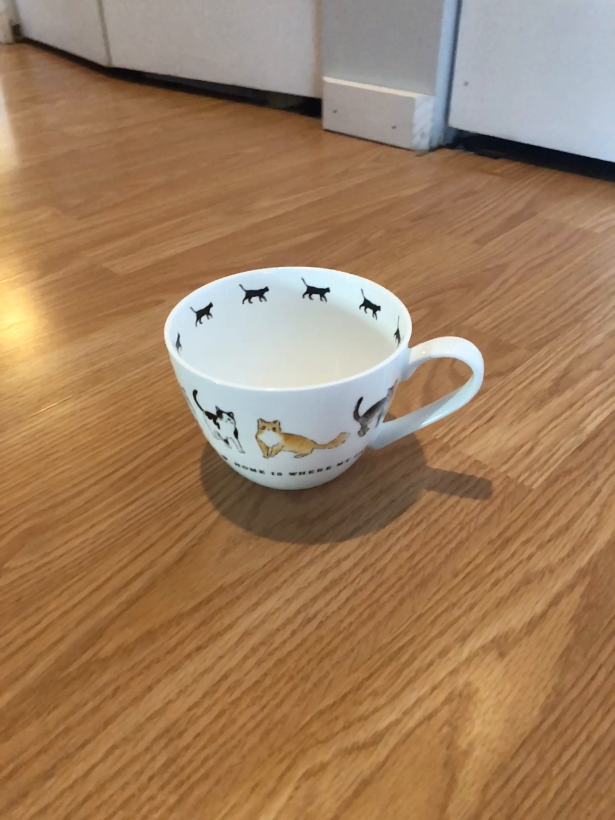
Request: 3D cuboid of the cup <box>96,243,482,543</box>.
[{"bbox_3d":[0.000,-0.017,0.353,0.160,0.080,0.120,8,38,12],"label":"cup"}]
